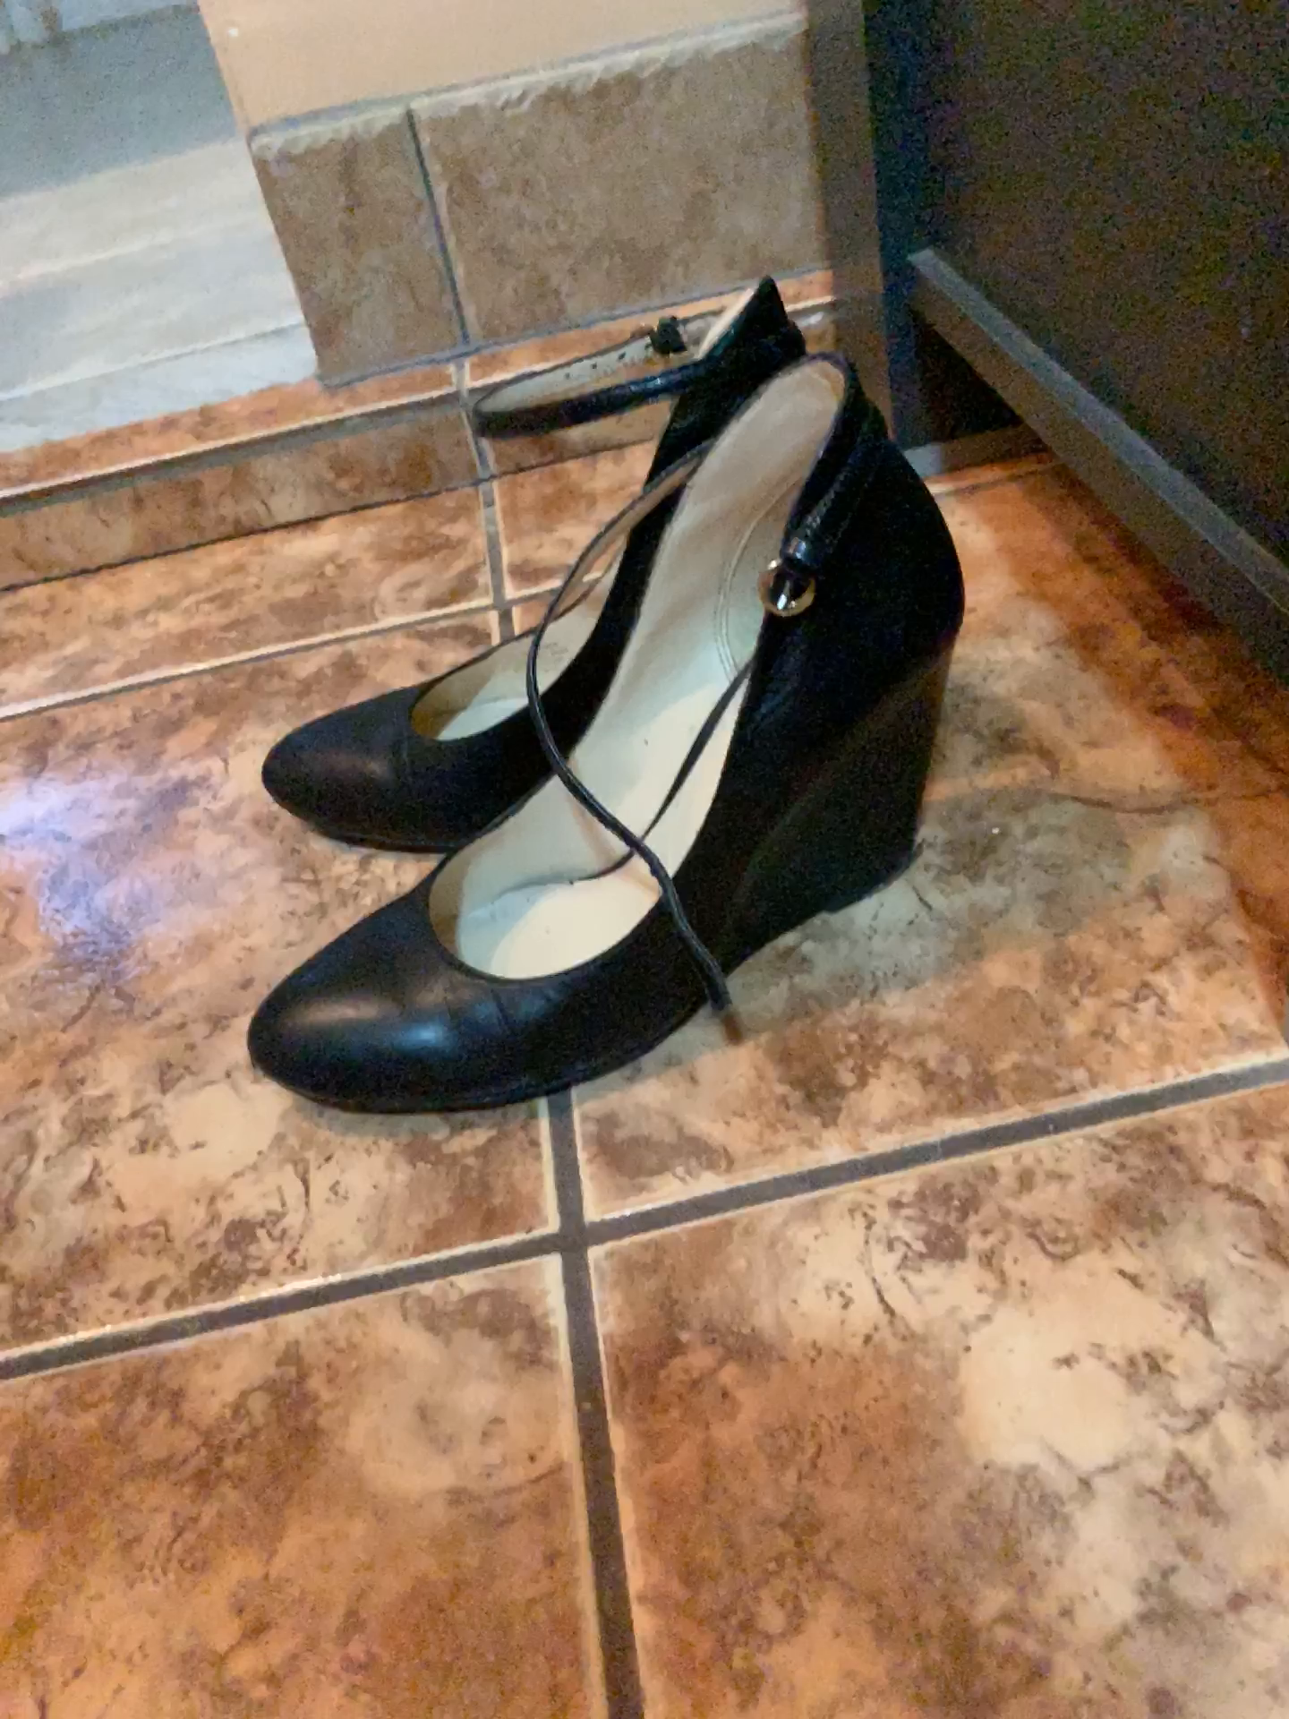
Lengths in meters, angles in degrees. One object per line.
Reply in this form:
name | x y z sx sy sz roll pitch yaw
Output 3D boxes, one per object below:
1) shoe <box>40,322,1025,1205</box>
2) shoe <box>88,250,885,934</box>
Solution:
shoe | -0.018 -0.026 0.340 0.209 0.140 0.087 -21 40 -9
shoe | -0.036 -0.078 0.421 0.200 0.159 0.079 -11 40 3
